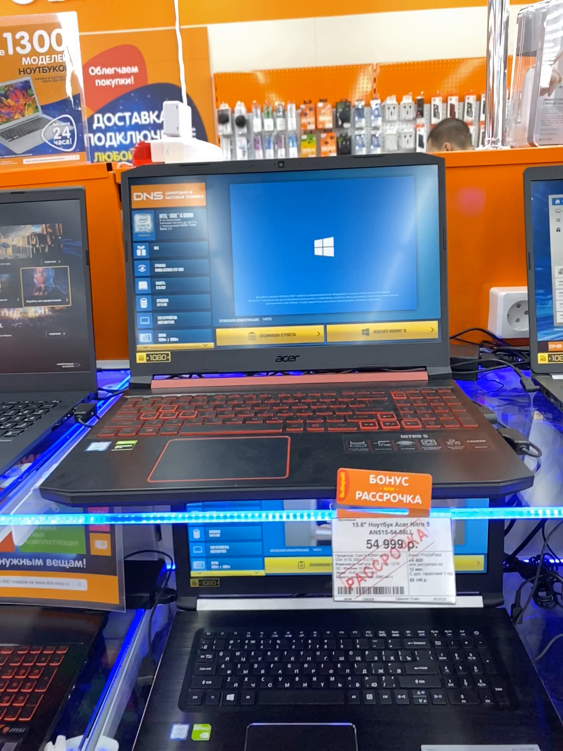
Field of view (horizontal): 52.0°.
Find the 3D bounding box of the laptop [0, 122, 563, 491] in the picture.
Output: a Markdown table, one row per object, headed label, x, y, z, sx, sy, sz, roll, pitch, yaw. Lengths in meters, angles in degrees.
| label | x | y | z | sx | sy | sz | roll | pitch | yaw |
| --- | --- | --- | --- | --- | --- | --- | --- | --- | --- |
| laptop | 0.002 | -0.077 | 0.532 | 0.360 | 0.237 | 0.303 | -2 | 16 | 2 |
